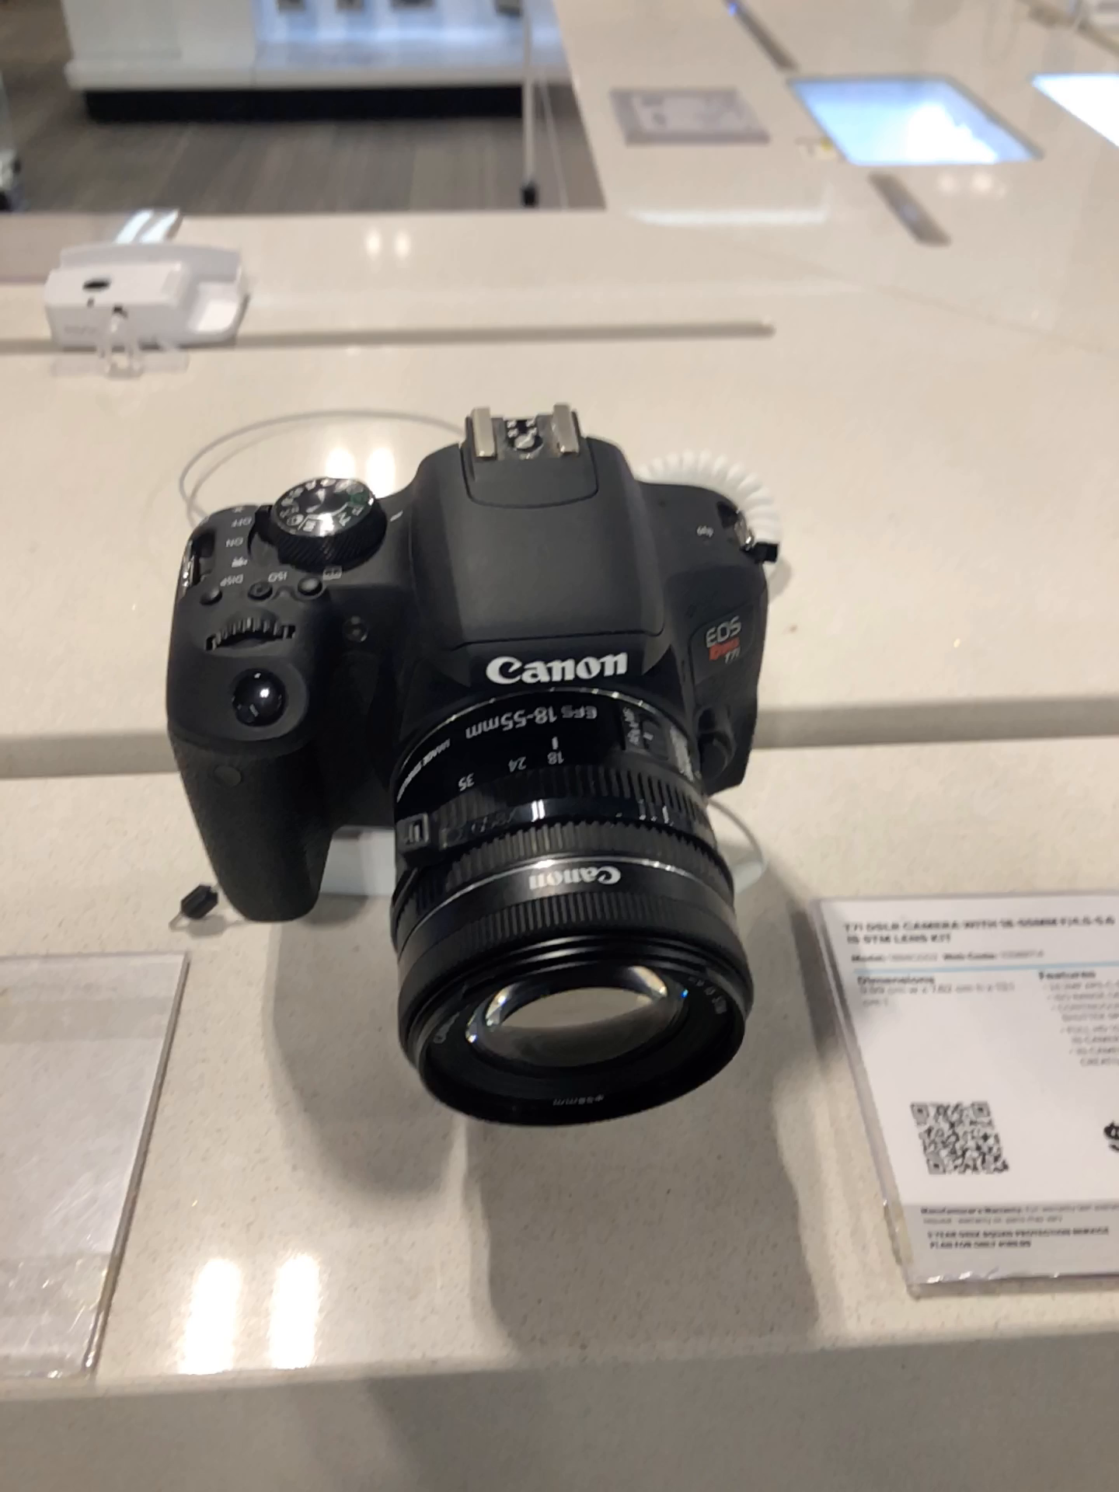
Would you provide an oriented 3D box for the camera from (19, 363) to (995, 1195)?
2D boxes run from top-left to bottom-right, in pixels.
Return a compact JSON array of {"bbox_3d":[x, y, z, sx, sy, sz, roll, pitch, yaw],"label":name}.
[{"bbox_3d":[-0.013,-0.001,0.259,0.140,0.099,0.131,-5,41,-6],"label":"camera"}]
